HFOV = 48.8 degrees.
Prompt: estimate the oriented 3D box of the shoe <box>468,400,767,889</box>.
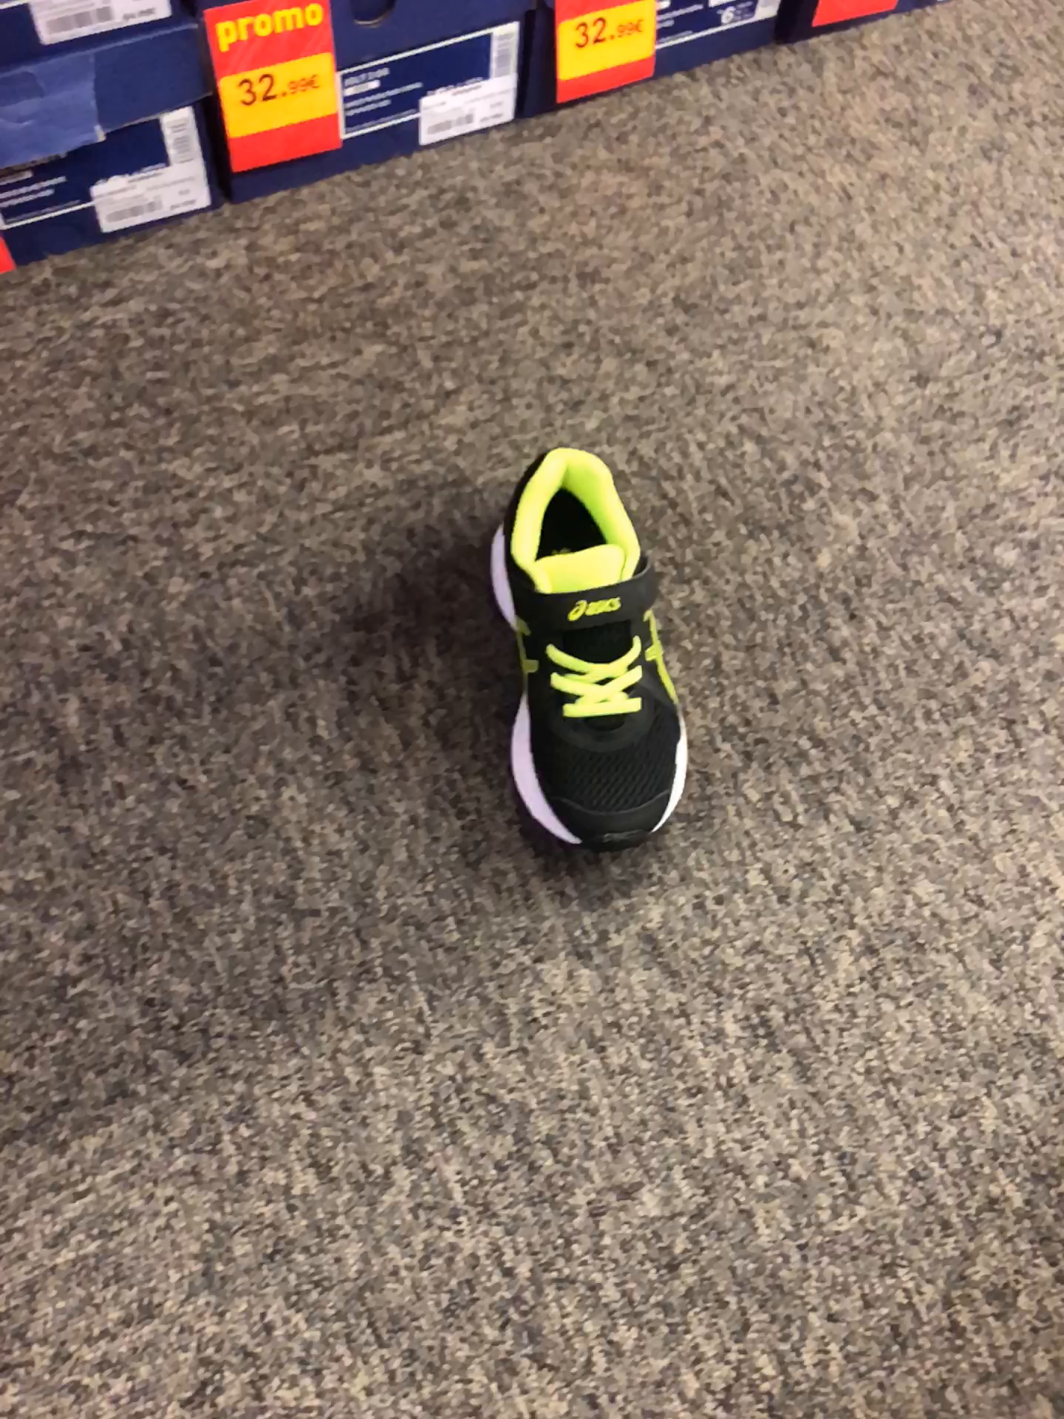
[{"bbox_3d":[0.030,-0.031,0.535,0.090,0.080,0.201,-6,67,-8],"label":"shoe"}]
